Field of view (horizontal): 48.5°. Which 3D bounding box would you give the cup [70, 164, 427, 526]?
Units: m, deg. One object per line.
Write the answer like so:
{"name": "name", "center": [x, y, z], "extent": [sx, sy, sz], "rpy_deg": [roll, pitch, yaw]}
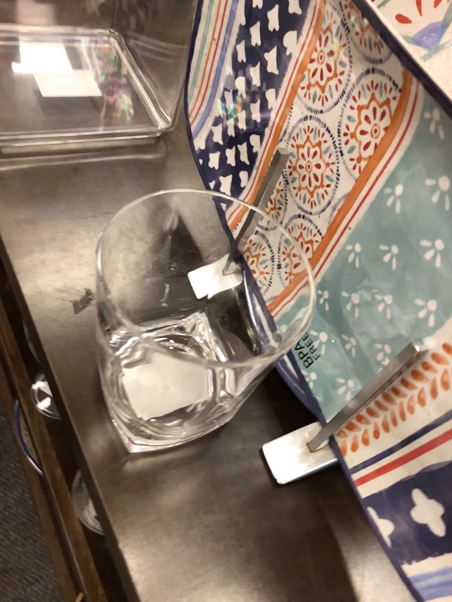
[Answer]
{"name": "cup", "center": [-0.005, 0.019, 0.246], "extent": [0.108, 0.111, 0.114], "rpy_deg": [9, 52, -12]}
